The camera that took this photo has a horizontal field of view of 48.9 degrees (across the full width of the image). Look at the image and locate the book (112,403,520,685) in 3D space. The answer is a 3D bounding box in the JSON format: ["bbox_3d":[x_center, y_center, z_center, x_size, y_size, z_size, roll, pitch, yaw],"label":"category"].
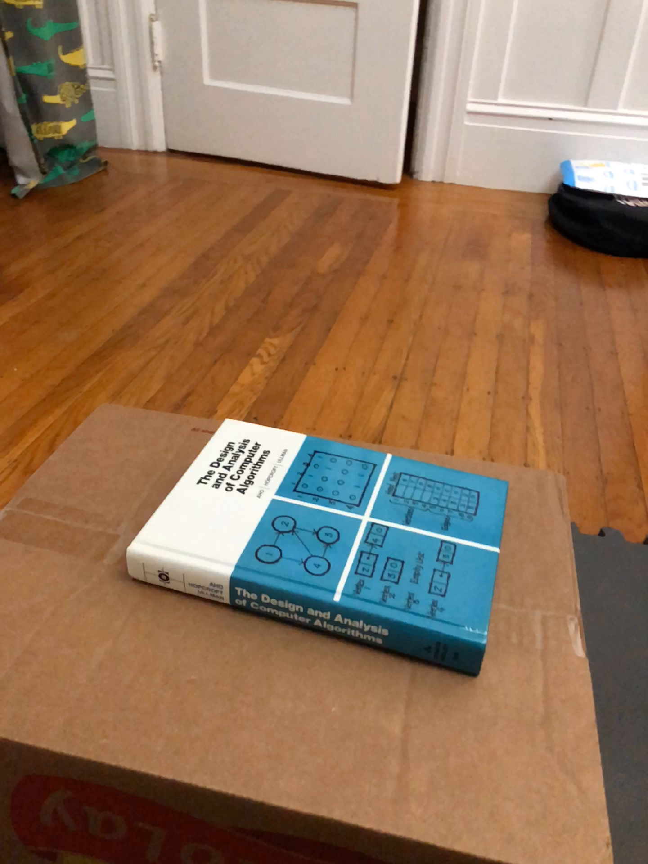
[{"bbox_3d":[0.007,0.067,0.543,0.260,0.040,0.191,12,35,12],"label":"book"}]
